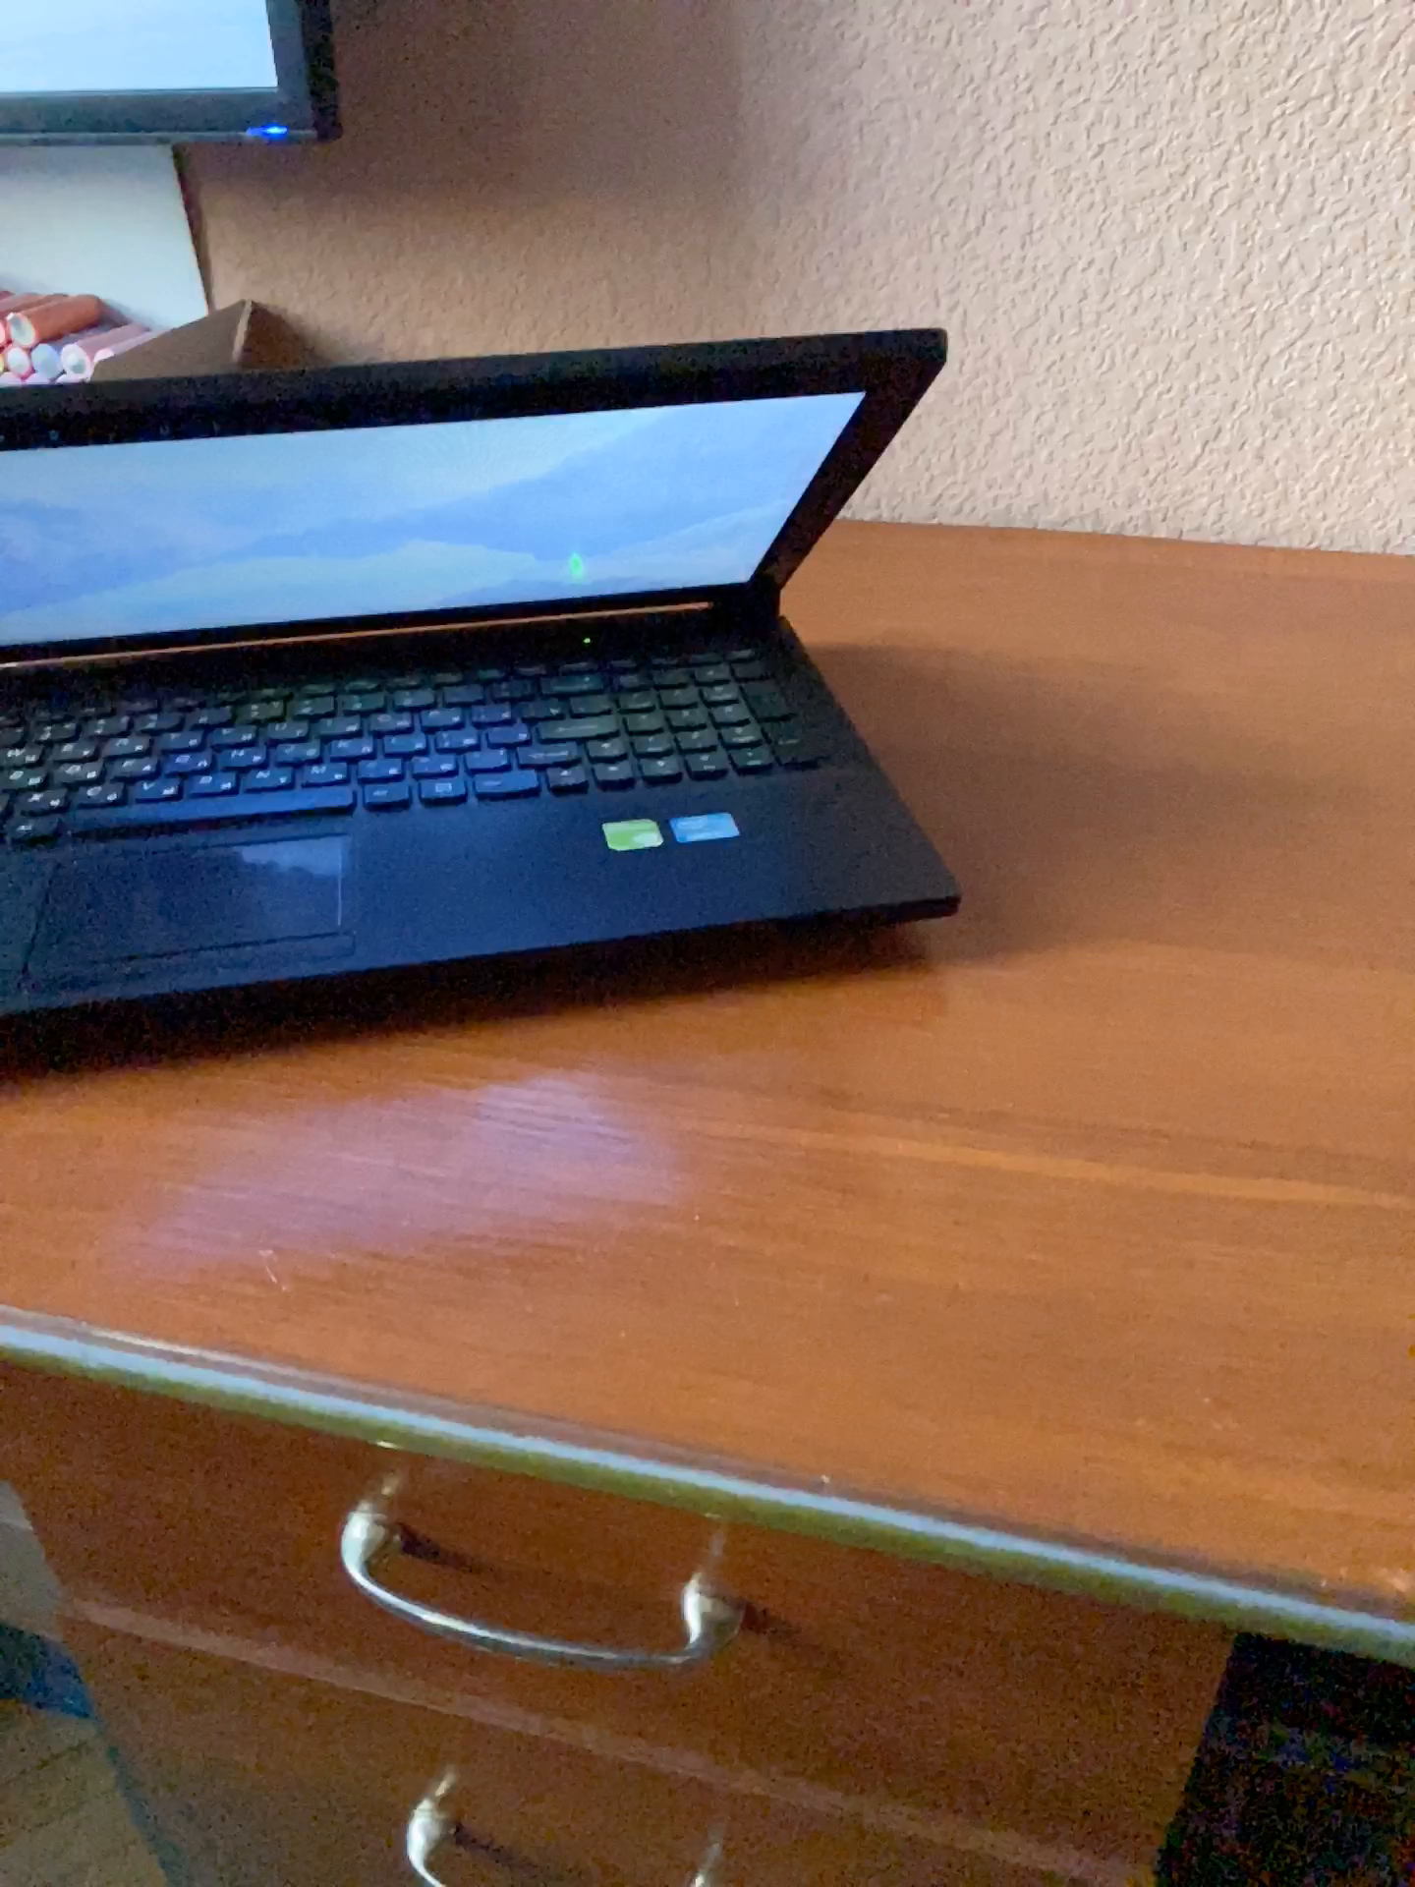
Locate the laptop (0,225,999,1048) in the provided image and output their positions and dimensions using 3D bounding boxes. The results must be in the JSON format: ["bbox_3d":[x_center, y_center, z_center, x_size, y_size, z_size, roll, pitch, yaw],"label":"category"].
[{"bbox_3d":[-0.136,-0.129,0.478,0.377,0.149,0.257,-7,35,-10],"label":"laptop"}]
